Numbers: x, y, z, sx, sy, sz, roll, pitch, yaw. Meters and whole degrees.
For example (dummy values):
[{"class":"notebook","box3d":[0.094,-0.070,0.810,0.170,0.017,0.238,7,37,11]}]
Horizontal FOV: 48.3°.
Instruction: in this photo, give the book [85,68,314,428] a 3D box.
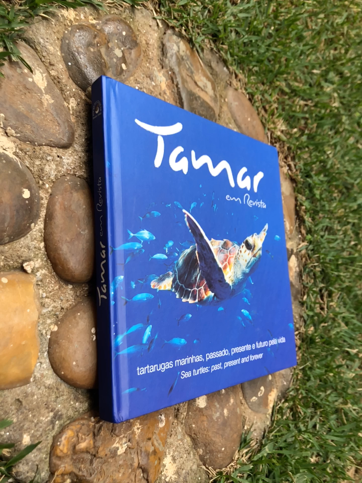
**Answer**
[{"class":"book","box3d":[0.025,0.005,0.256,0.180,0.020,0.166,5,79,-45]}]
